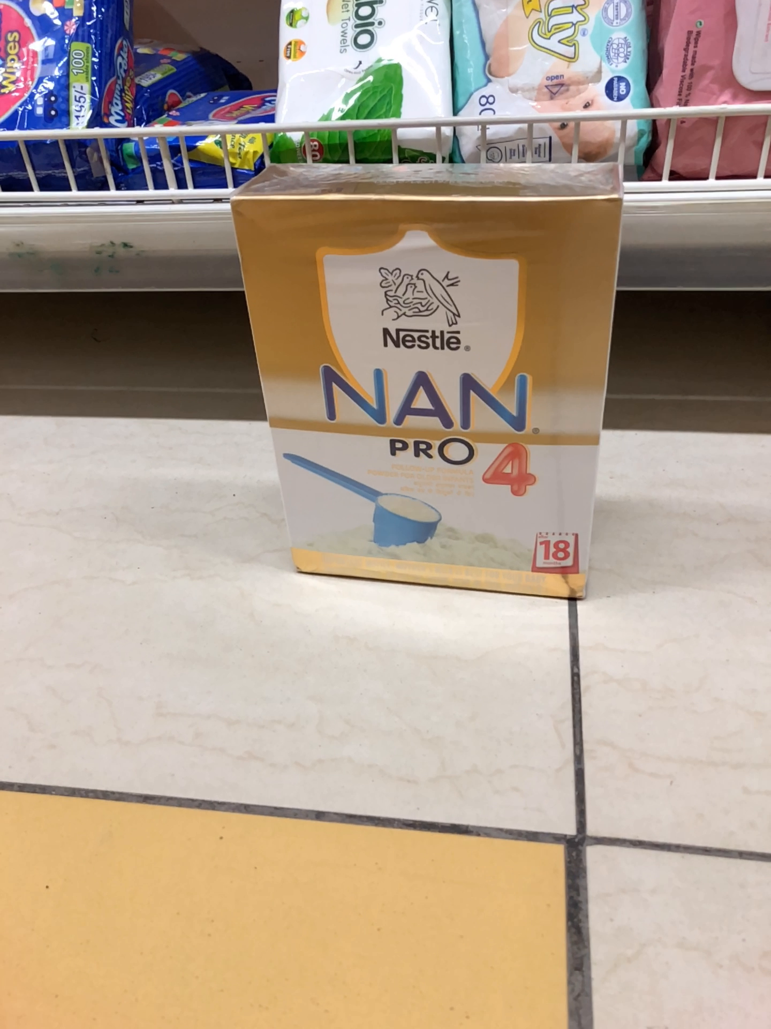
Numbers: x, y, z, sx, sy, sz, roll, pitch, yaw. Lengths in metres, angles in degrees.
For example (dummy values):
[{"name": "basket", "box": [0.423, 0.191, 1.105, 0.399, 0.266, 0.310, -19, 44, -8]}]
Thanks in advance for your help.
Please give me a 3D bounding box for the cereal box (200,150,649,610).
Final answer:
[{"name": "cereal box", "box": [0.020, -0.053, 0.374, 0.160, 0.189, 0.050, 4, 36, 11]}]
